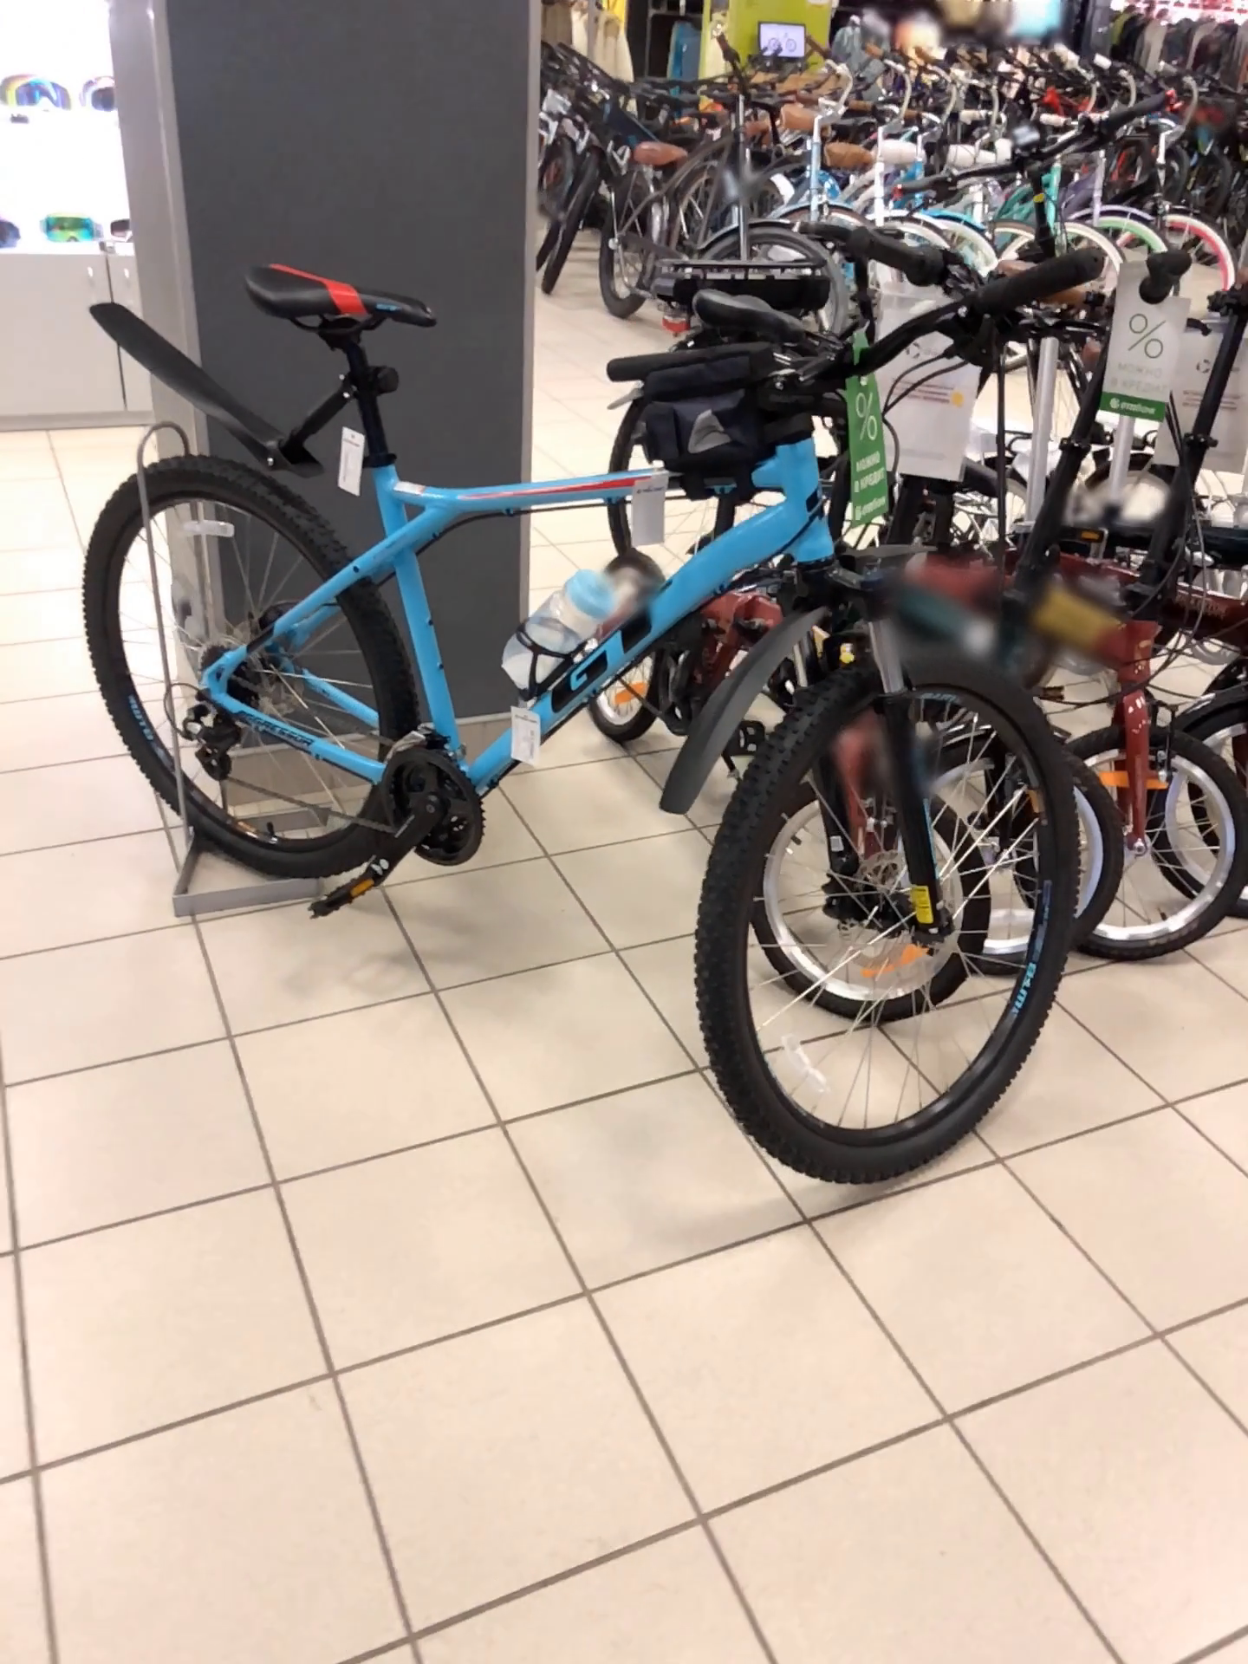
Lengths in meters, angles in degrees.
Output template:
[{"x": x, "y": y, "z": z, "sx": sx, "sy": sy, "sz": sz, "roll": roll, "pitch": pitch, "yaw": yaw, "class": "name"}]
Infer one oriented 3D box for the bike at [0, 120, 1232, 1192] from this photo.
[{"x": -0.129, "y": -0.330, "z": 1.995, "sx": 1.610, "sy": 1.084, "sz": 0.695, "roll": 14, "pitch": 31, "yaw": 14, "class": "bike"}]
